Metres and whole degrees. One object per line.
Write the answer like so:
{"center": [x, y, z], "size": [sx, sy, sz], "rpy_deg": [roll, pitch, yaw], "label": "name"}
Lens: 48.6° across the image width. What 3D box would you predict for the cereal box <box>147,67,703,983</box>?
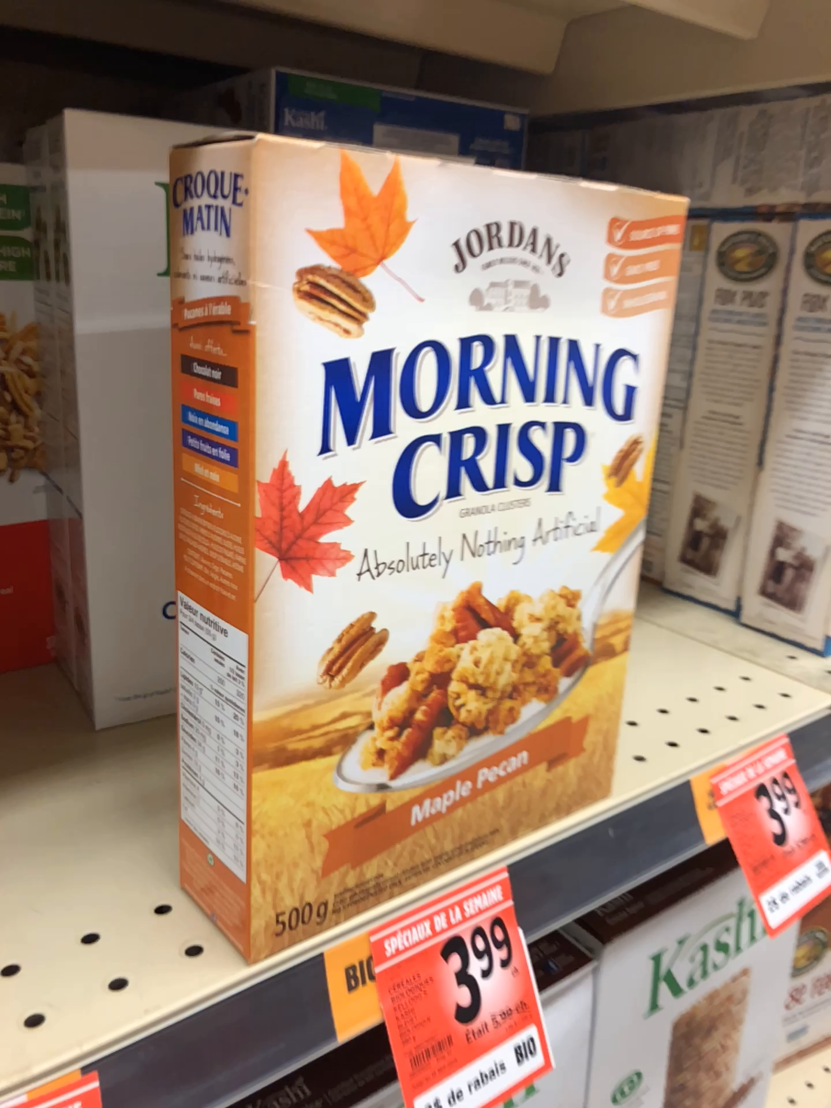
{"center": [0.007, -0.010, 0.329], "size": [0.190, 0.259, 0.050], "rpy_deg": [-10, 21, -39], "label": "cereal box"}
